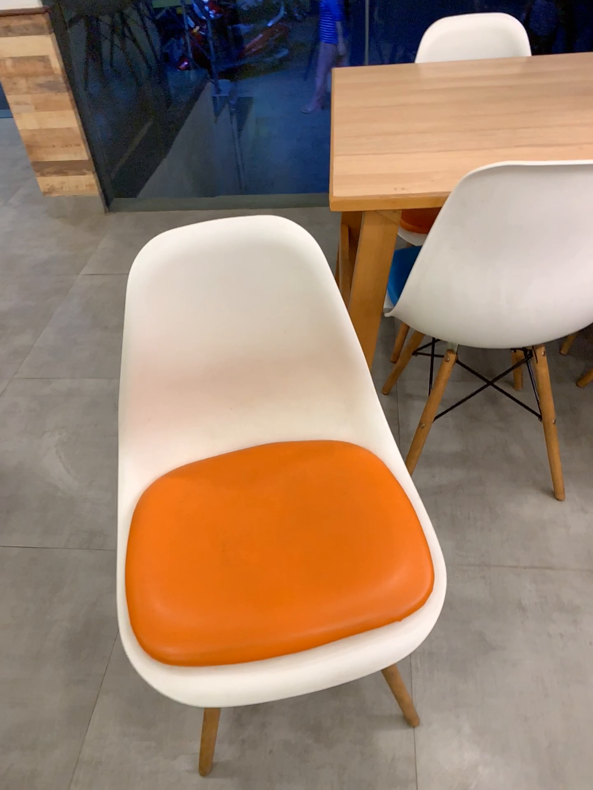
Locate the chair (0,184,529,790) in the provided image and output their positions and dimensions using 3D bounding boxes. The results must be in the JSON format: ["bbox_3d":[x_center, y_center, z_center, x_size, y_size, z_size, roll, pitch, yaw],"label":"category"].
[{"bbox_3d":[-0.042,0.166,0.881,0.440,0.724,0.454,-10,42,-5],"label":"chair"}]
